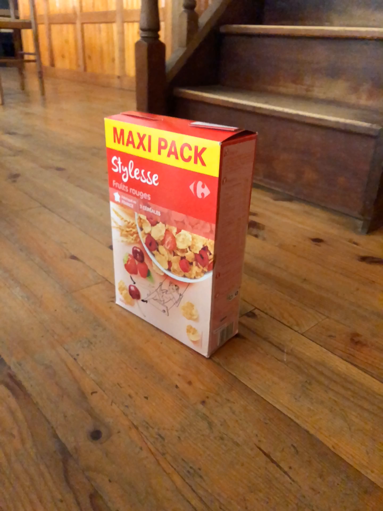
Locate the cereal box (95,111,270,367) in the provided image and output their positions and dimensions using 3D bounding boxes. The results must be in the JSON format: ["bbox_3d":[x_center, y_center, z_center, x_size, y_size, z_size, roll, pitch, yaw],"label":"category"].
[{"bbox_3d":[-0.023,-0.031,0.583,0.210,0.288,0.091,23,33,35],"label":"cereal box"}]
